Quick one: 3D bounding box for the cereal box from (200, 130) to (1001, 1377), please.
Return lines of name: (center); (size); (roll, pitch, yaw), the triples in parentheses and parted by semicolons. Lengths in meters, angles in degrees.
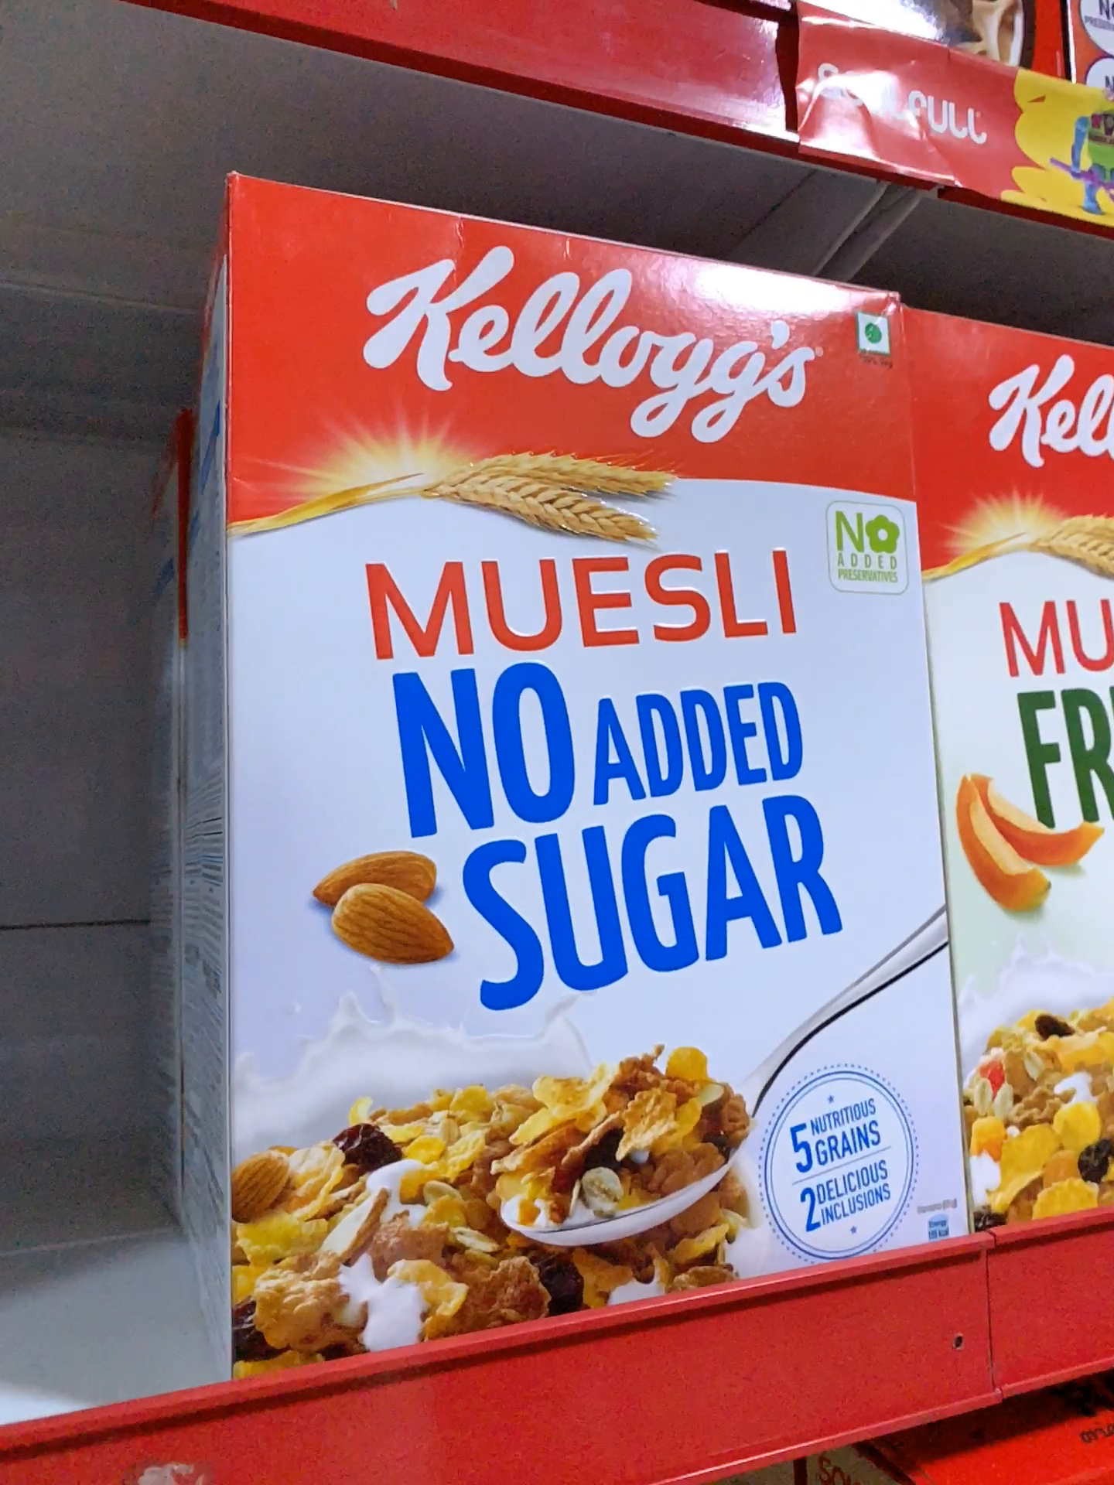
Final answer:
cereal box: (0.011, -0.002, 0.281); (0.180, 0.241, 0.050); (1, -7, -23)
